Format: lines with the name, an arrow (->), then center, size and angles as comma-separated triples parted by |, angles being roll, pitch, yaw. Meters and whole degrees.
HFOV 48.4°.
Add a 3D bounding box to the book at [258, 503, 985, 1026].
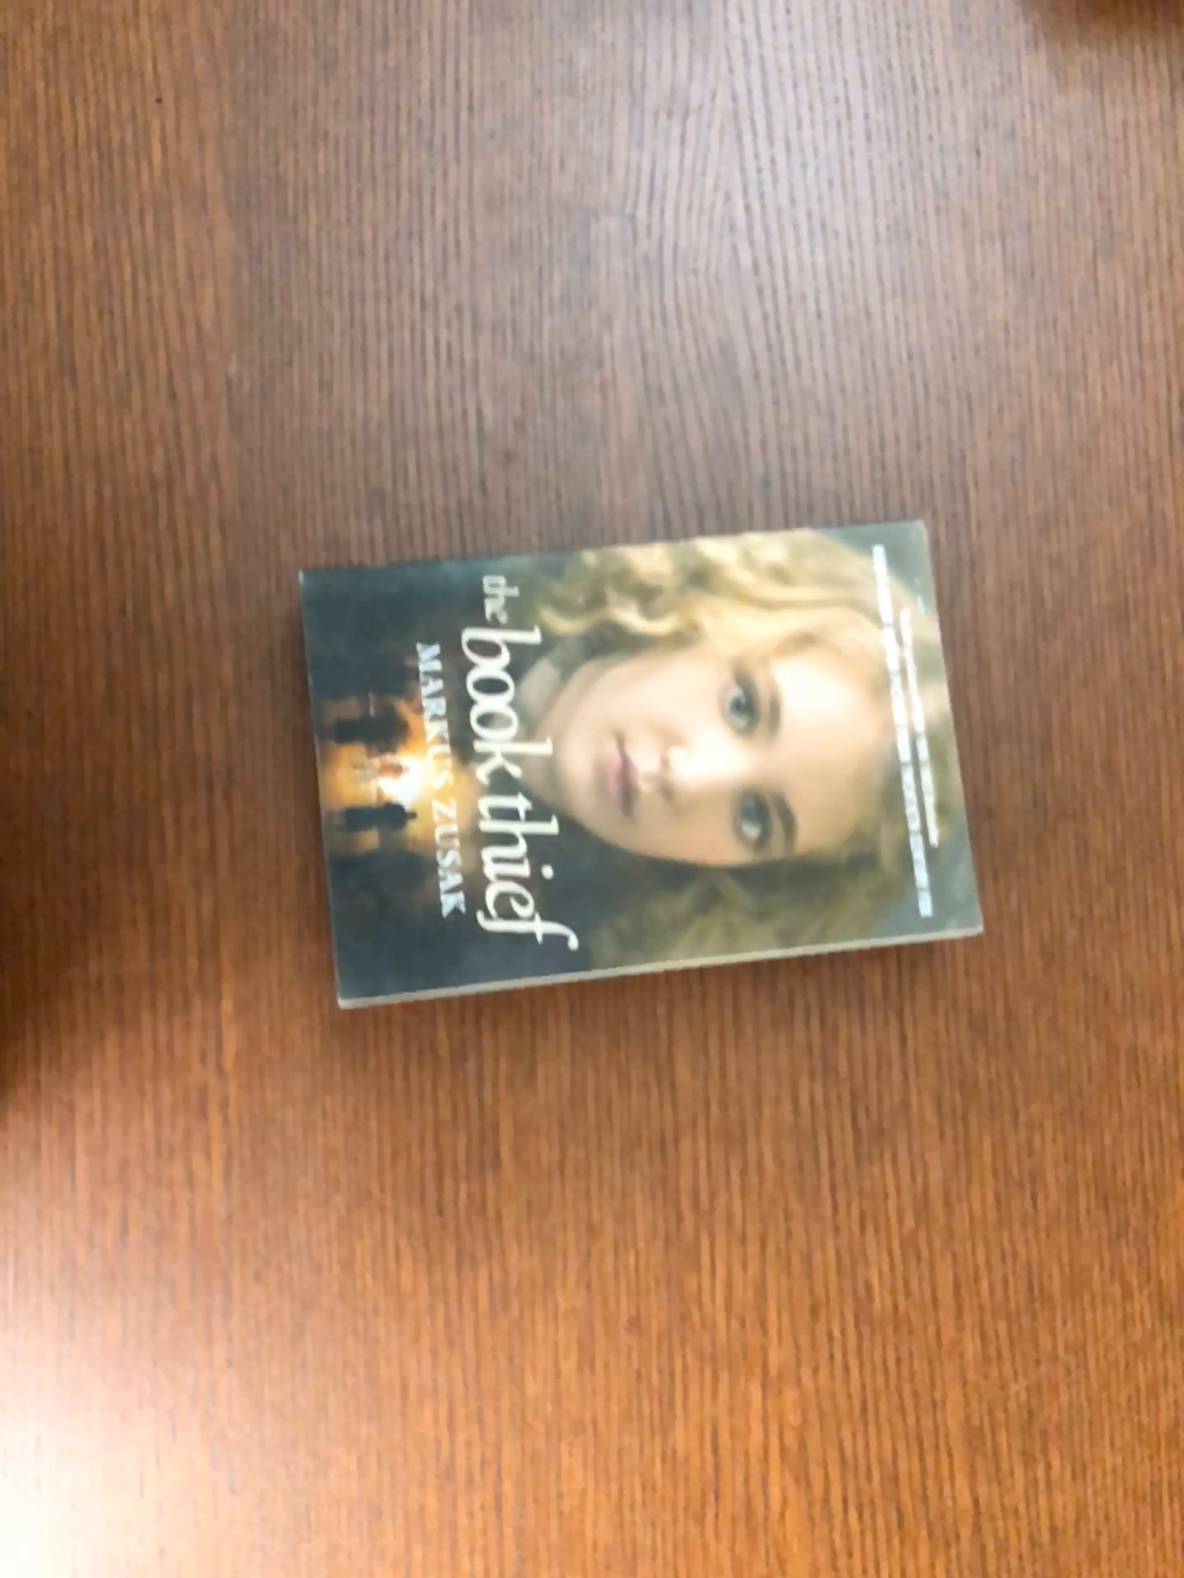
book -> 0.009, -0.009, 0.438 | 0.220, 0.030, 0.150 | -5, 84, -4
